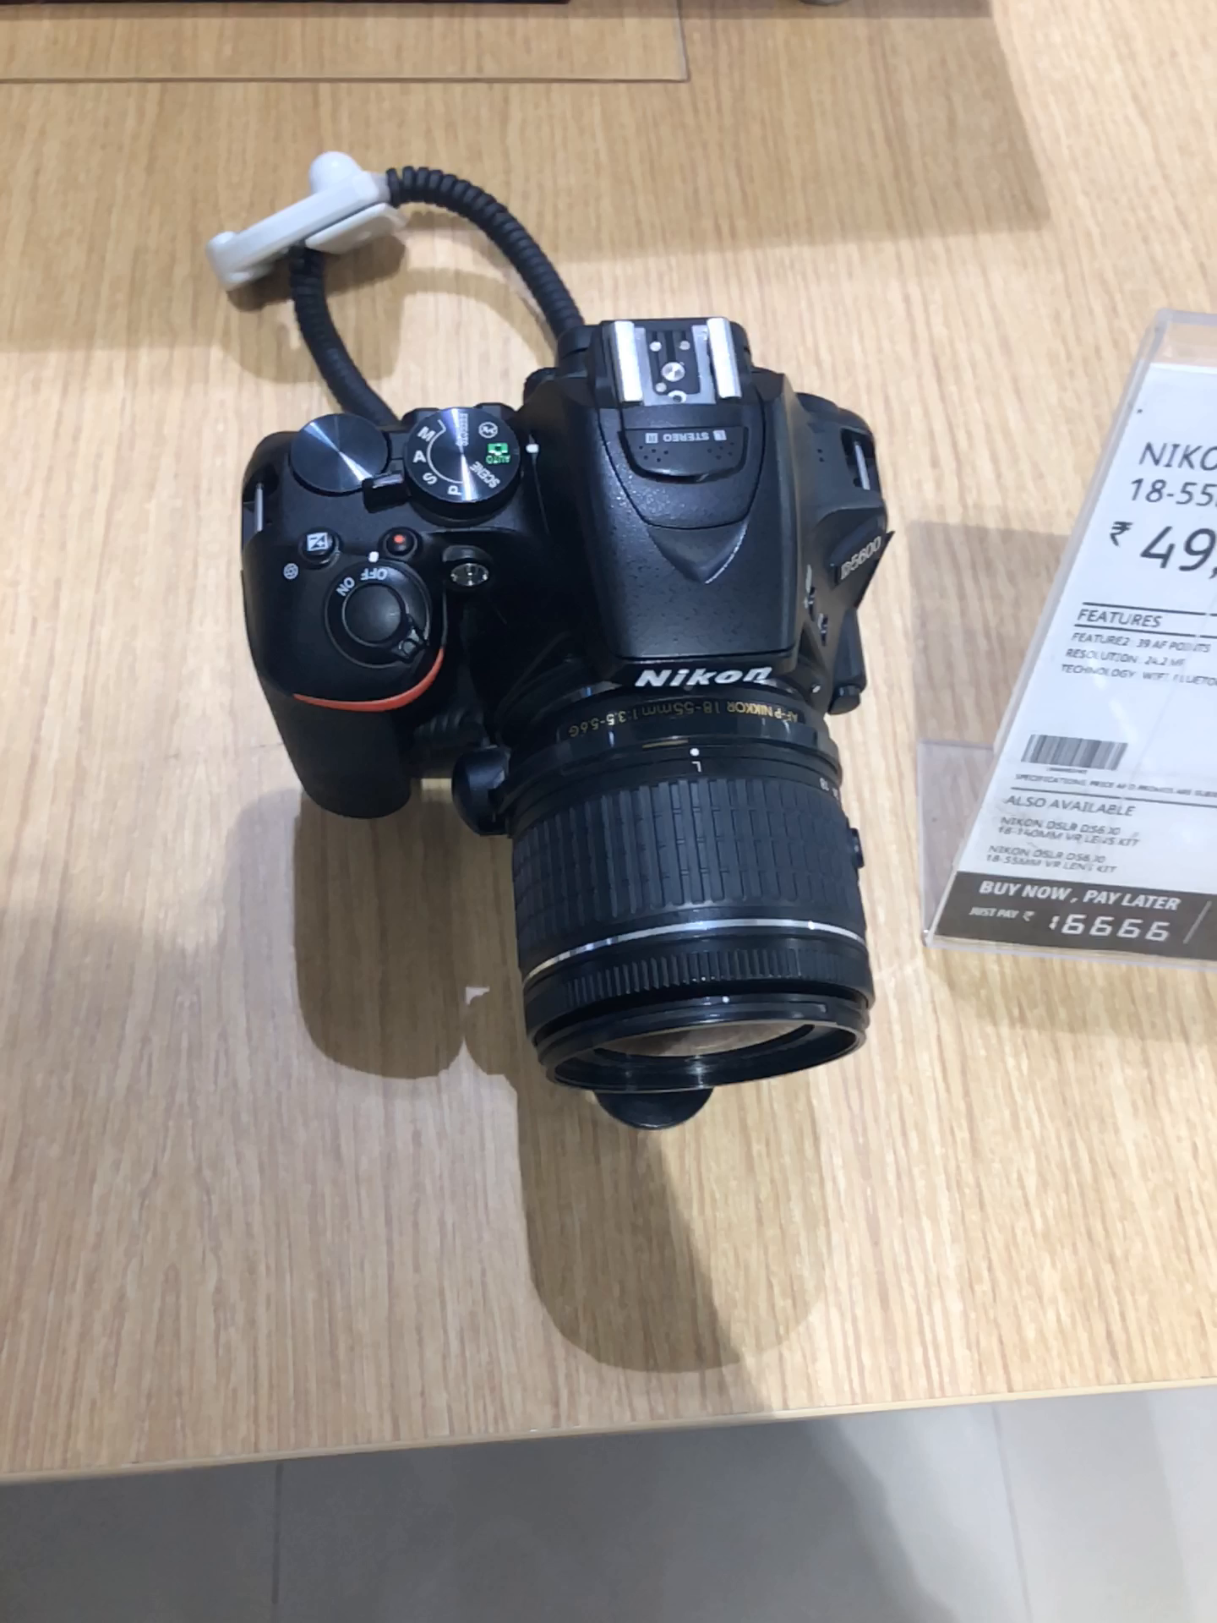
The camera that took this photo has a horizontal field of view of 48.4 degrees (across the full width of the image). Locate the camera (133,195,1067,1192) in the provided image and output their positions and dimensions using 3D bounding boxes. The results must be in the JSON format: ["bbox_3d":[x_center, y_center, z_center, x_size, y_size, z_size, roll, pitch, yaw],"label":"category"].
[{"bbox_3d":[-0.009,-0.021,0.266,0.130,0.100,0.160,-3,66,-5],"label":"camera"}]
